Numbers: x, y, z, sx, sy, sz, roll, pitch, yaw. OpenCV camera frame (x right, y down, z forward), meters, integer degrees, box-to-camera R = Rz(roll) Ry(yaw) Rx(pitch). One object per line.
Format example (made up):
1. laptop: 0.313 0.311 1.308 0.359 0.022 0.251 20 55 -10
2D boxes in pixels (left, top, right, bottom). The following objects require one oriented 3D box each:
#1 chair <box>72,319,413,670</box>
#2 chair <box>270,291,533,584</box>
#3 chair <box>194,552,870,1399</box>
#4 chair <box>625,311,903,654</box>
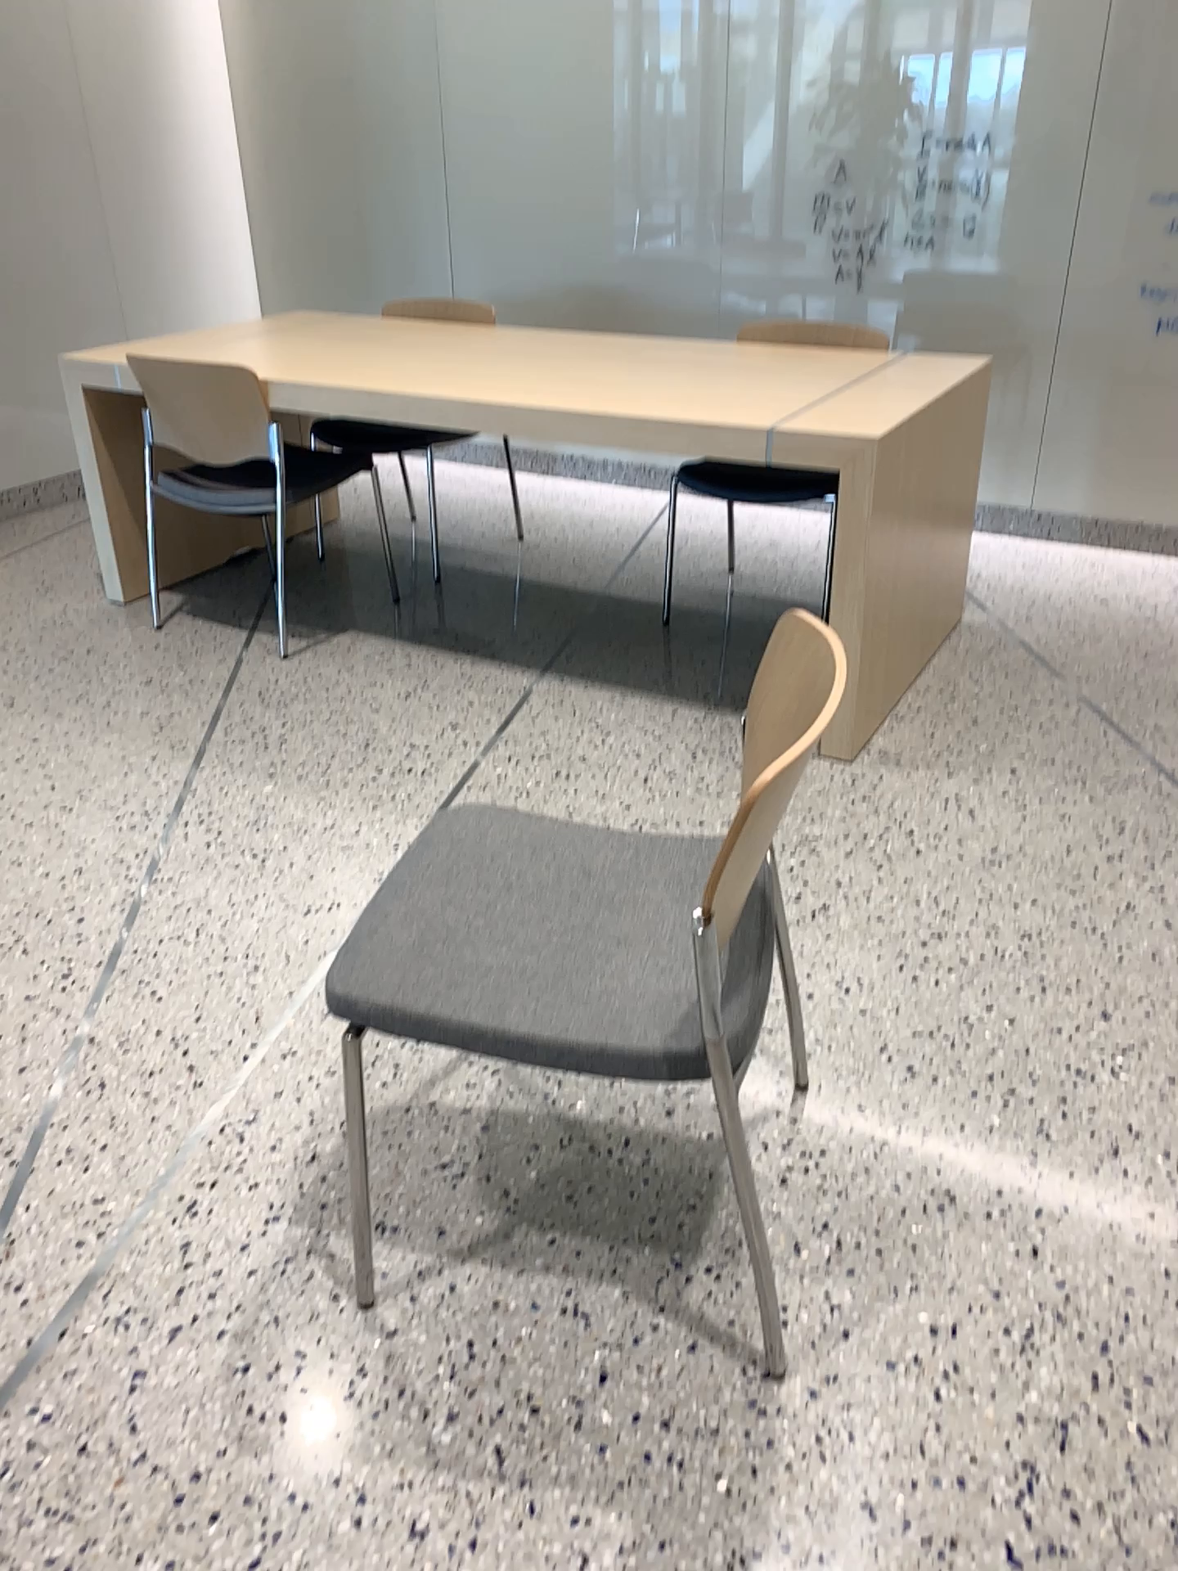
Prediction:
1. chair: -0.919 -0.830 3.319 0.548 0.769 0.595 14 32 26
2. chair: -0.573 -1.148 3.886 0.548 0.769 0.595 11 31 22
3. chair: -0.009 0.190 1.459 0.591 0.769 0.541 6 29 13
4. chair: 0.475 -0.858 3.295 0.538 0.749 0.595 14 31 26
